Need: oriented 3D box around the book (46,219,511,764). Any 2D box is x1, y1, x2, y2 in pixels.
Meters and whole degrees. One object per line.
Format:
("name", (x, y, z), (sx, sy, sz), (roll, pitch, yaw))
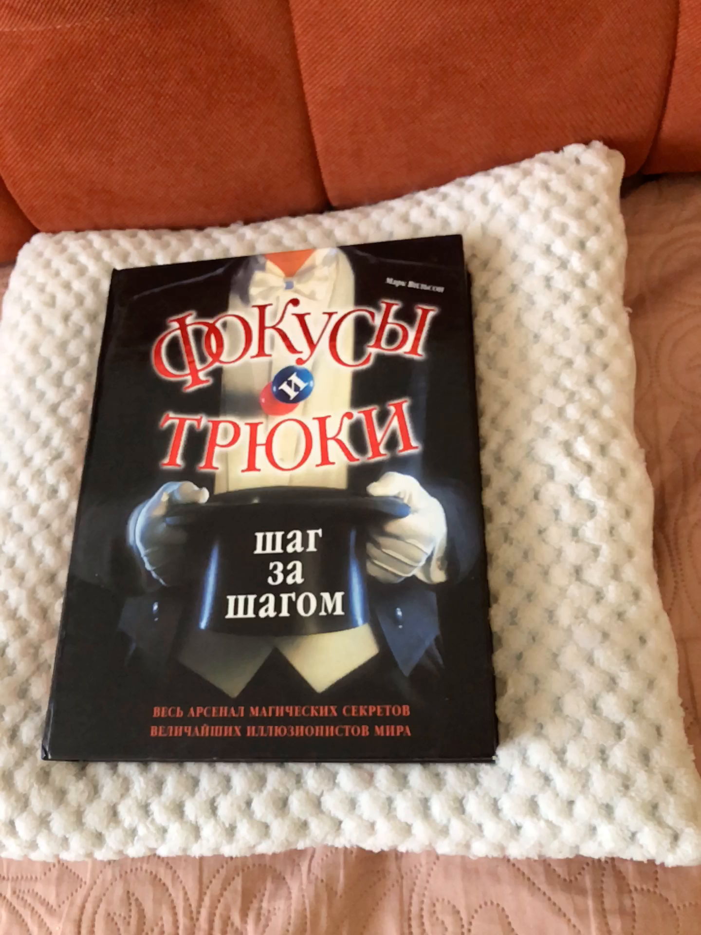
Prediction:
("book", (-0.032, 0.005, 0.397), (0.200, 0.040, 0.271), (-4, 66, 9))
